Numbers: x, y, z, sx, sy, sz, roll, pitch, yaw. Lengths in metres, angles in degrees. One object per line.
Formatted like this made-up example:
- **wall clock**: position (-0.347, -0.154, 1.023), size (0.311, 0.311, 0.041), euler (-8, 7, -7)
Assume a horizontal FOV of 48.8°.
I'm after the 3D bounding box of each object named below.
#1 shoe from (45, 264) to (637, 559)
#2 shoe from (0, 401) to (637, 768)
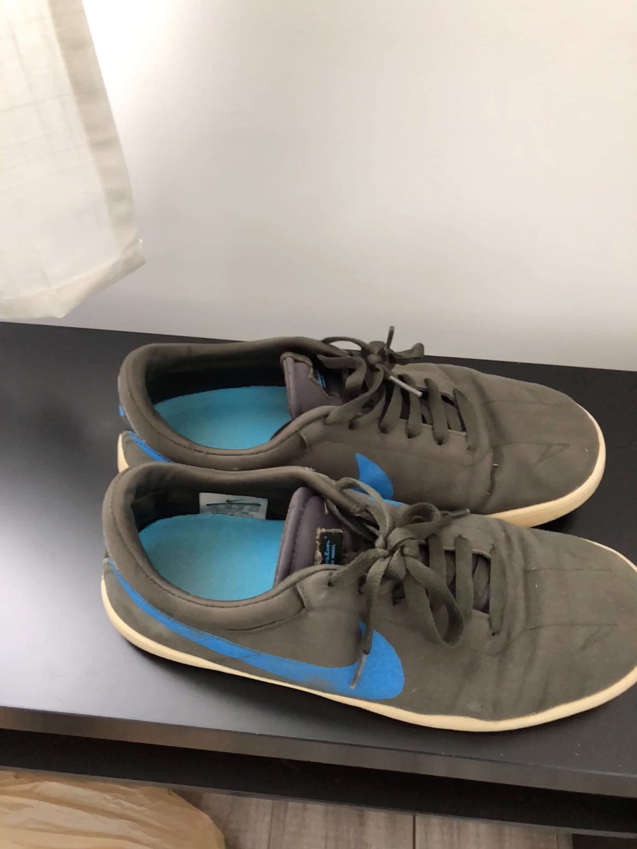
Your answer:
- **shoe**: position (0.020, -0.005, 0.384), size (0.280, 0.110, 0.100), euler (3, 54, 1)
- **shoe**: position (0.021, 0.078, 0.336), size (0.280, 0.110, 0.100), euler (7, 54, 4)
